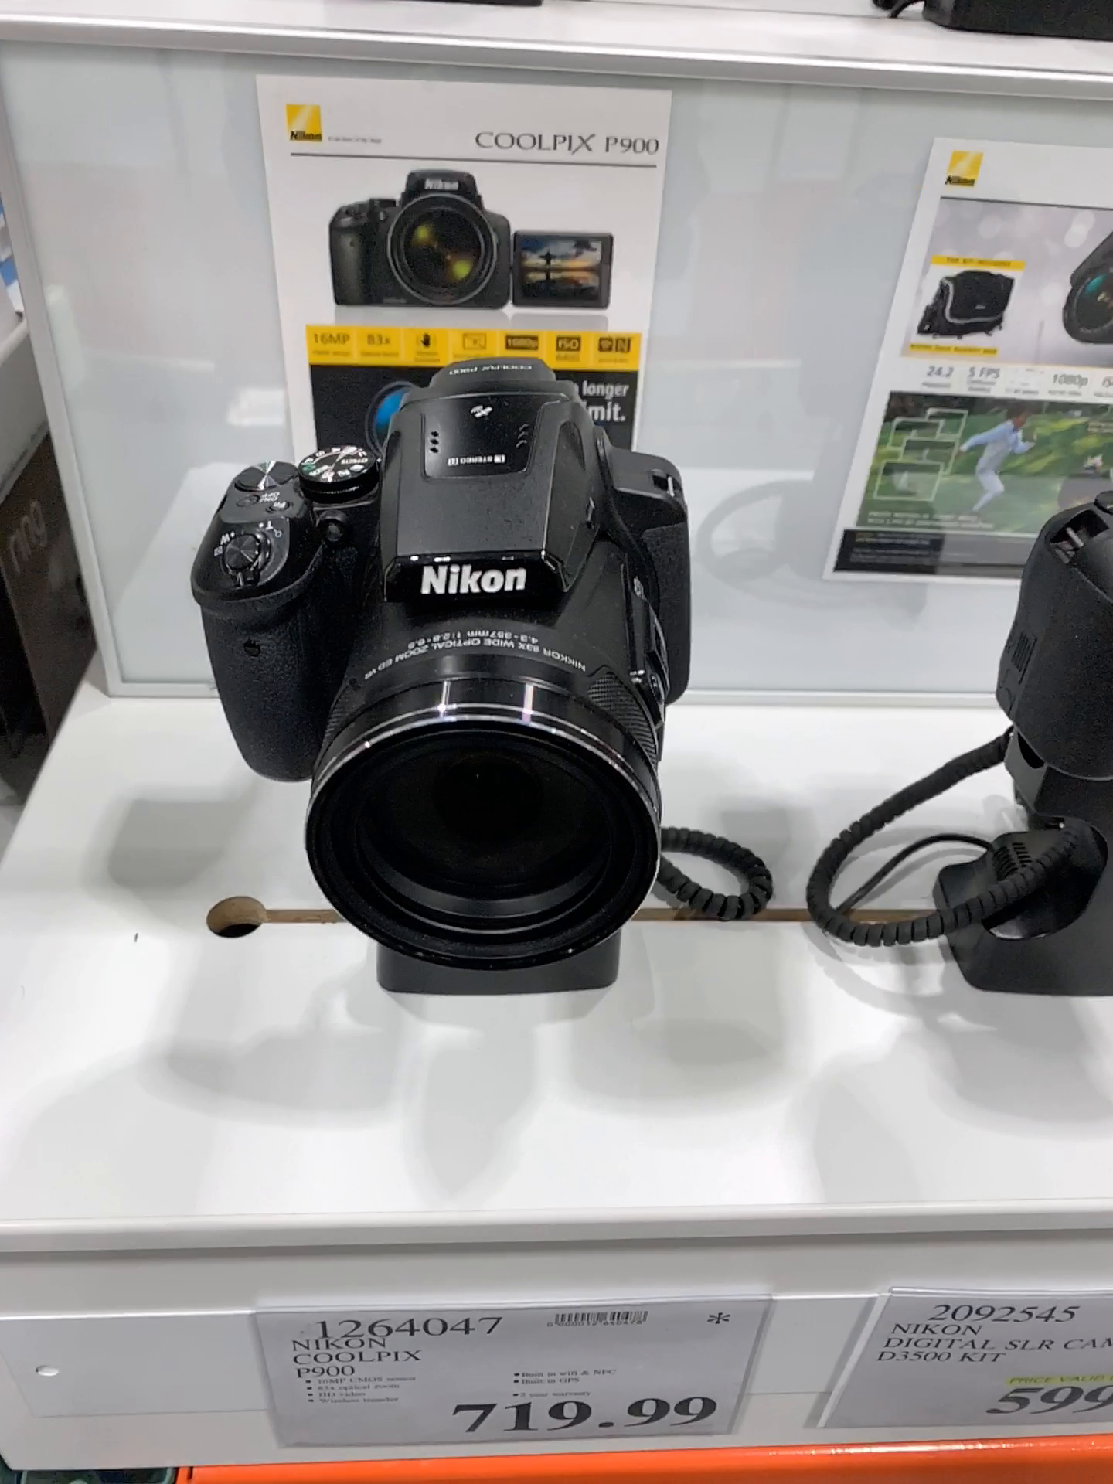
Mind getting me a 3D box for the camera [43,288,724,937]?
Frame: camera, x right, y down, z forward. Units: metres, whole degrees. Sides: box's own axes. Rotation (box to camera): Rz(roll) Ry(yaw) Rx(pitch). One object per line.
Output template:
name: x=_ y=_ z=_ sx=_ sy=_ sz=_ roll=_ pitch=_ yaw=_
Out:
camera: x=-0.031 y=-0.042 z=0.313 sx=0.130 sy=0.109 sz=0.151 roll=-1 pitch=38 yaw=1
